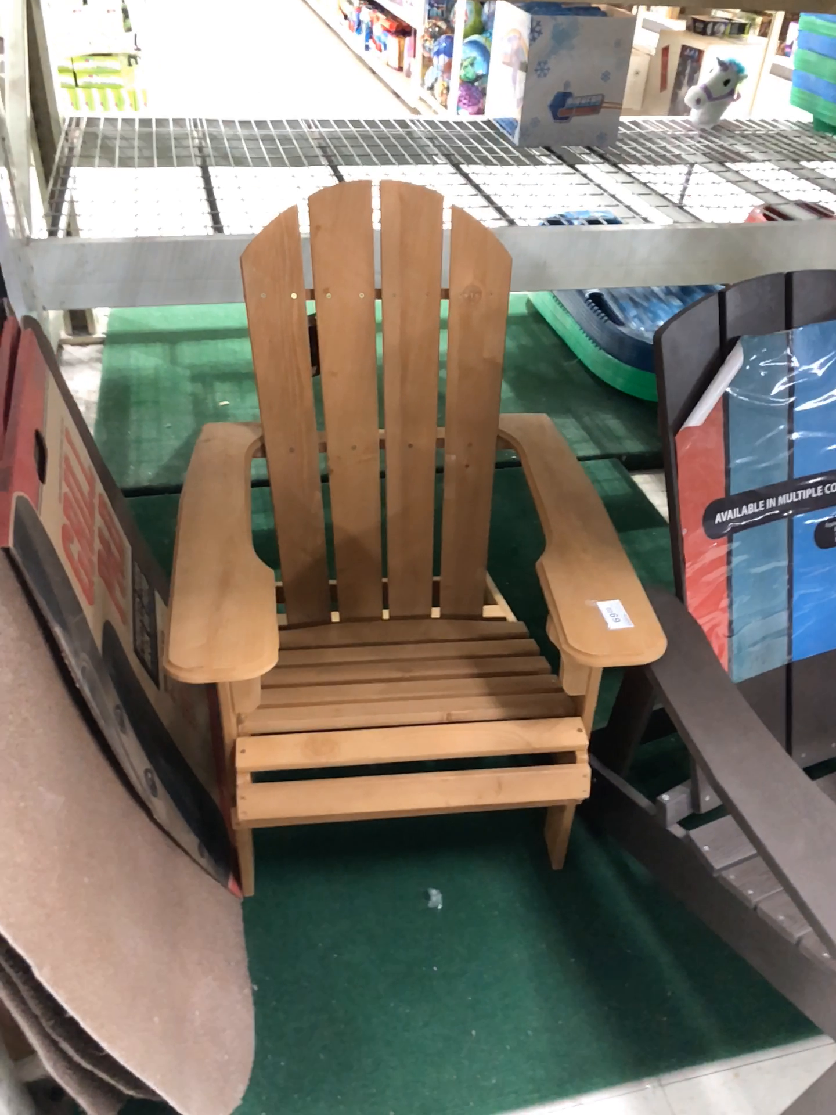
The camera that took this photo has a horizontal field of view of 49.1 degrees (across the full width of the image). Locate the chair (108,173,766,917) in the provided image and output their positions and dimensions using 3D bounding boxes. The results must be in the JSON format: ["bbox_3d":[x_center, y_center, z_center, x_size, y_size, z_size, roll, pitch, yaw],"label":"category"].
[{"bbox_3d":[-0.031,-0.031,1.421,0.641,0.885,0.690,-2,37,-7],"label":"chair"}]
